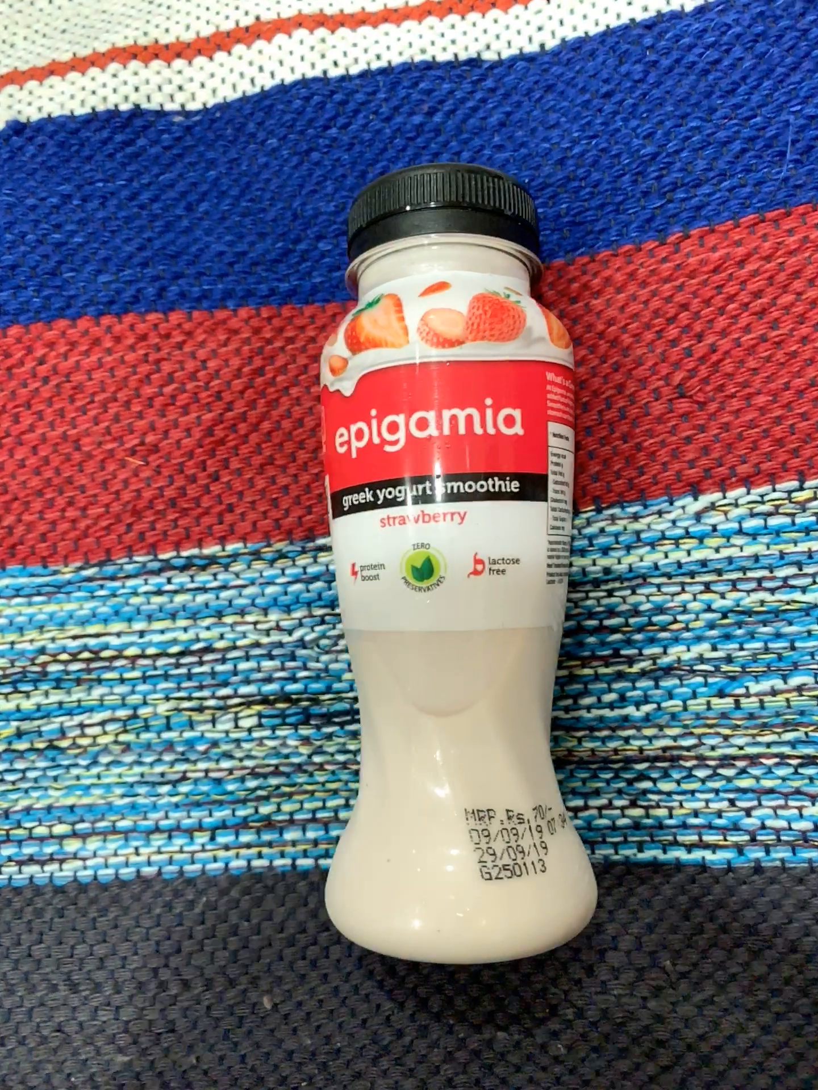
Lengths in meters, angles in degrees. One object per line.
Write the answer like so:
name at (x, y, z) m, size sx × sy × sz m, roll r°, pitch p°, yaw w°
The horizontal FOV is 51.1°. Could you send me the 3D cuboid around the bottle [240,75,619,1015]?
bottle at (0.004, -0.002, 0.172) m, size 0.060 × 0.050 × 0.160 m, roll -3°, pitch 80°, yaw 9°
